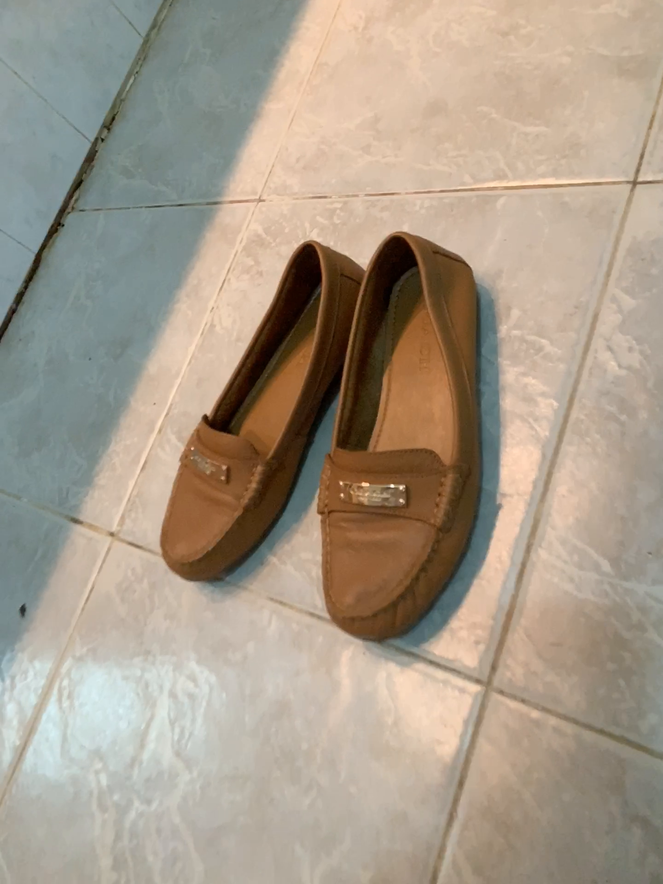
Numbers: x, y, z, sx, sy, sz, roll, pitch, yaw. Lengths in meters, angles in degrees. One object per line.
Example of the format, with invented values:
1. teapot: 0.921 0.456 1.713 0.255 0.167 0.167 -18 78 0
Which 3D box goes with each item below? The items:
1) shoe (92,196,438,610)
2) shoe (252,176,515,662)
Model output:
1. shoe: -0.040 -0.026 0.426 0.083 0.071 0.243 29 86 38
2. shoe: 0.037 -0.015 0.368 0.085 0.071 0.243 -1 69 32
